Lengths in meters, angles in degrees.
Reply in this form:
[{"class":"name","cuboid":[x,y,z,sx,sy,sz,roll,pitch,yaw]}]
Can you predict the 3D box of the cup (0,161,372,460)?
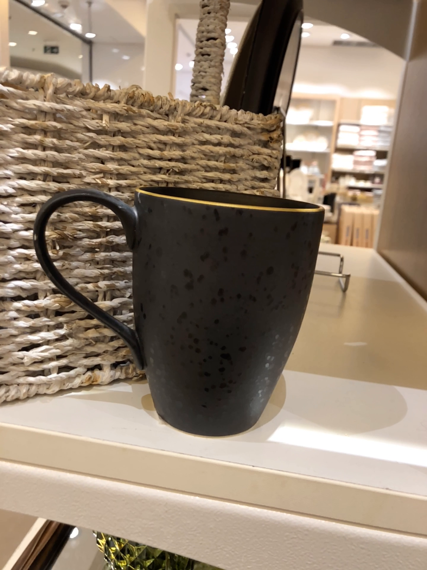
[{"class":"cup","cuboid":[-0.012,0.003,0.204,0.120,0.100,0.080,4,15,0]}]
